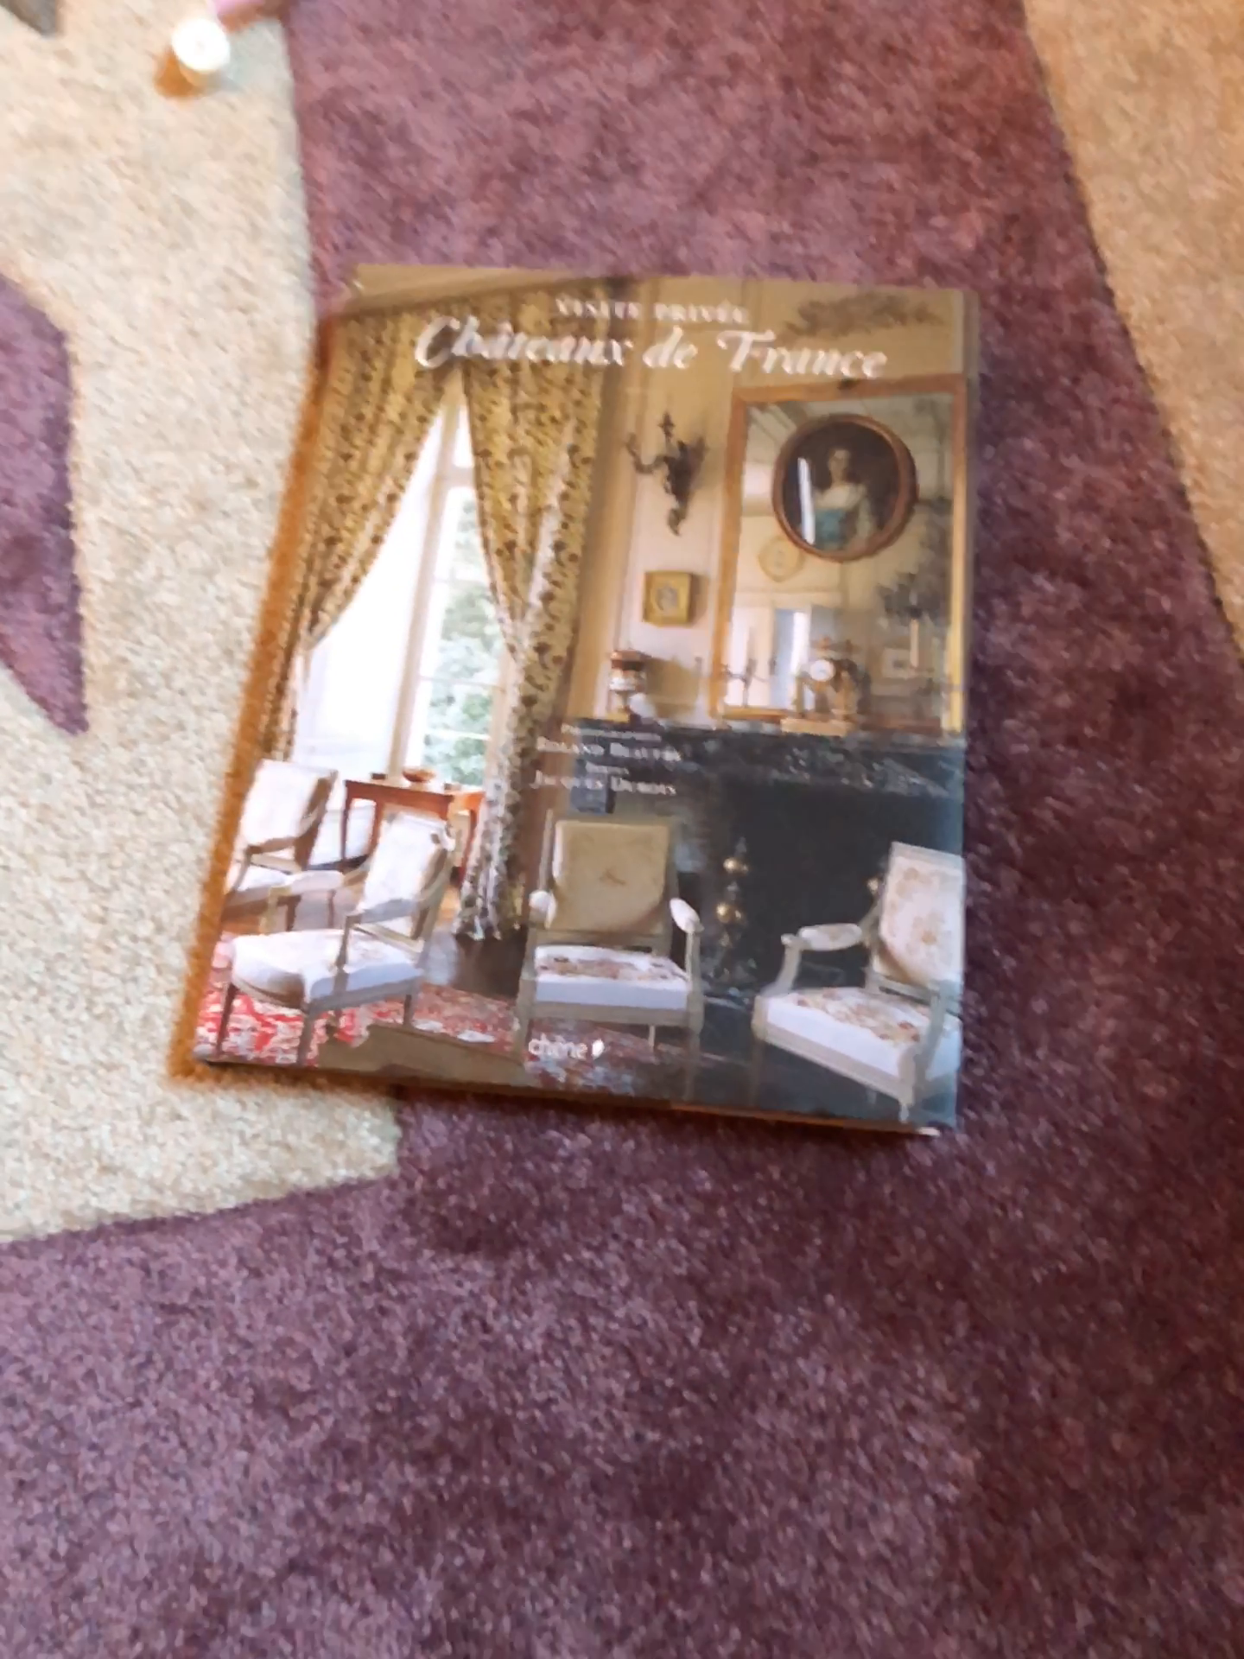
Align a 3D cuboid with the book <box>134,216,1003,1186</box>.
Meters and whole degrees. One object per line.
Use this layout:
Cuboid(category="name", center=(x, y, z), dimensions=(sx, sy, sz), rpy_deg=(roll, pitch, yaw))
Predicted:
Cuboid(category="book", center=(-0.004, -0.062, 0.496), dimensions=(0.260, 0.050, 0.341), rpy_deg=(5, 72, 6))
